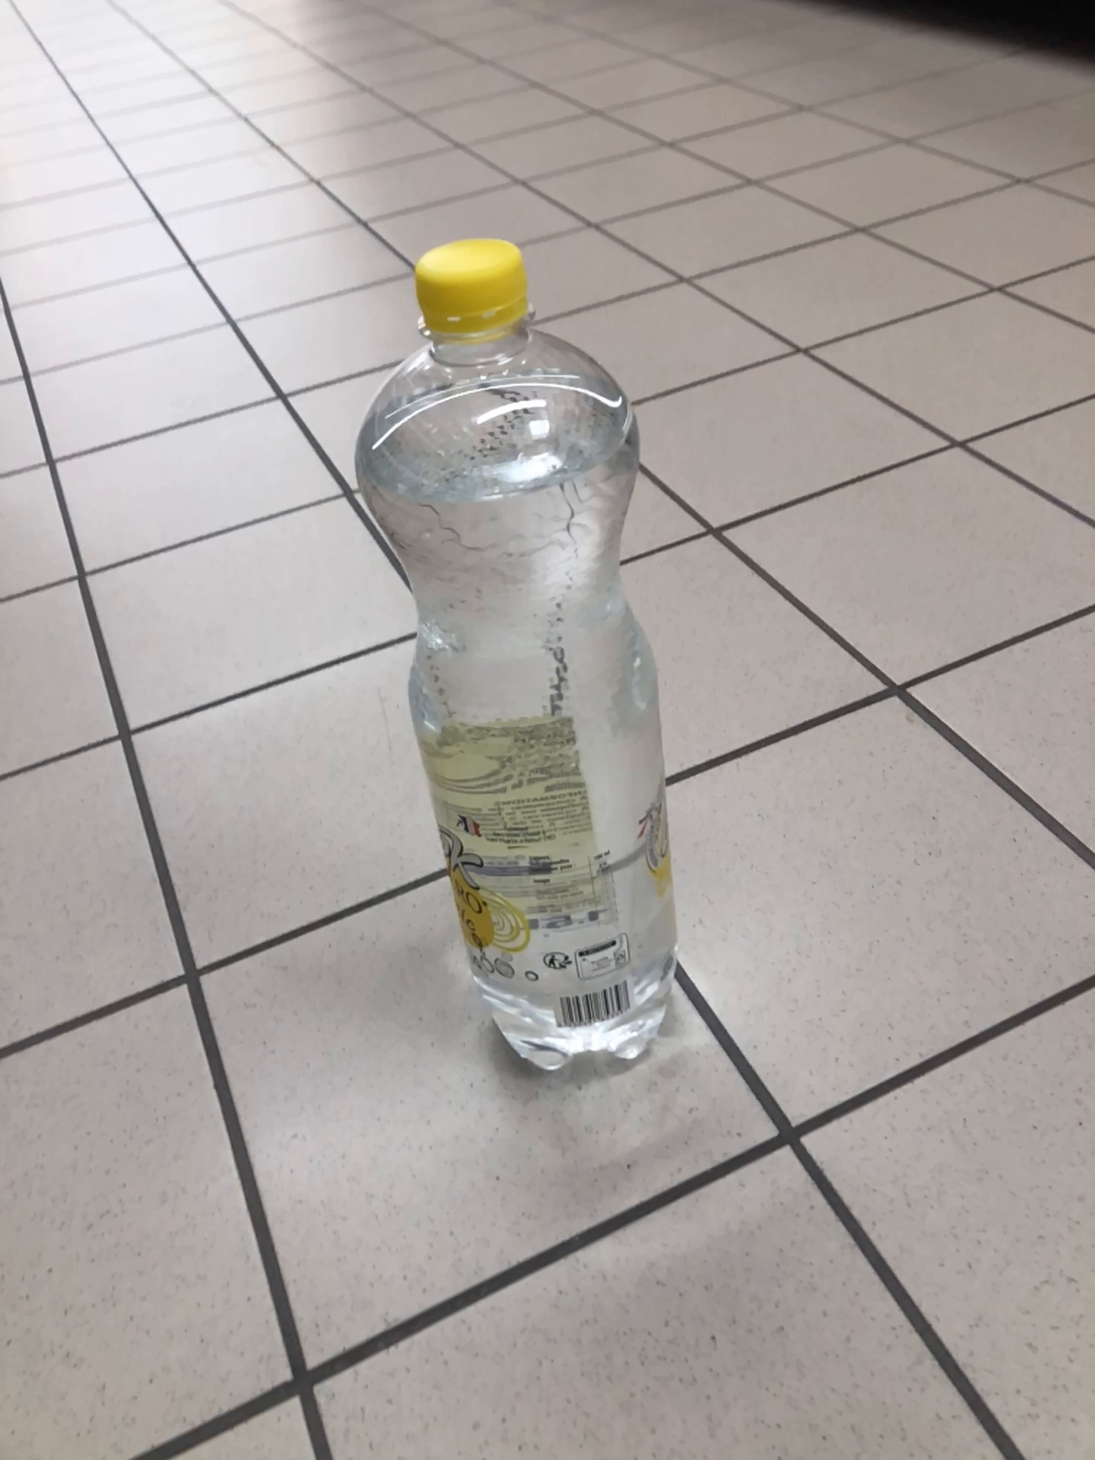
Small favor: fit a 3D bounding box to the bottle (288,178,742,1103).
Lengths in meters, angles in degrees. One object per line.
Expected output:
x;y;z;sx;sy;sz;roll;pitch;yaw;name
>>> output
0.002;-0.012;0.440;0.100;0.318;0.100;-5;40;4;bottle
